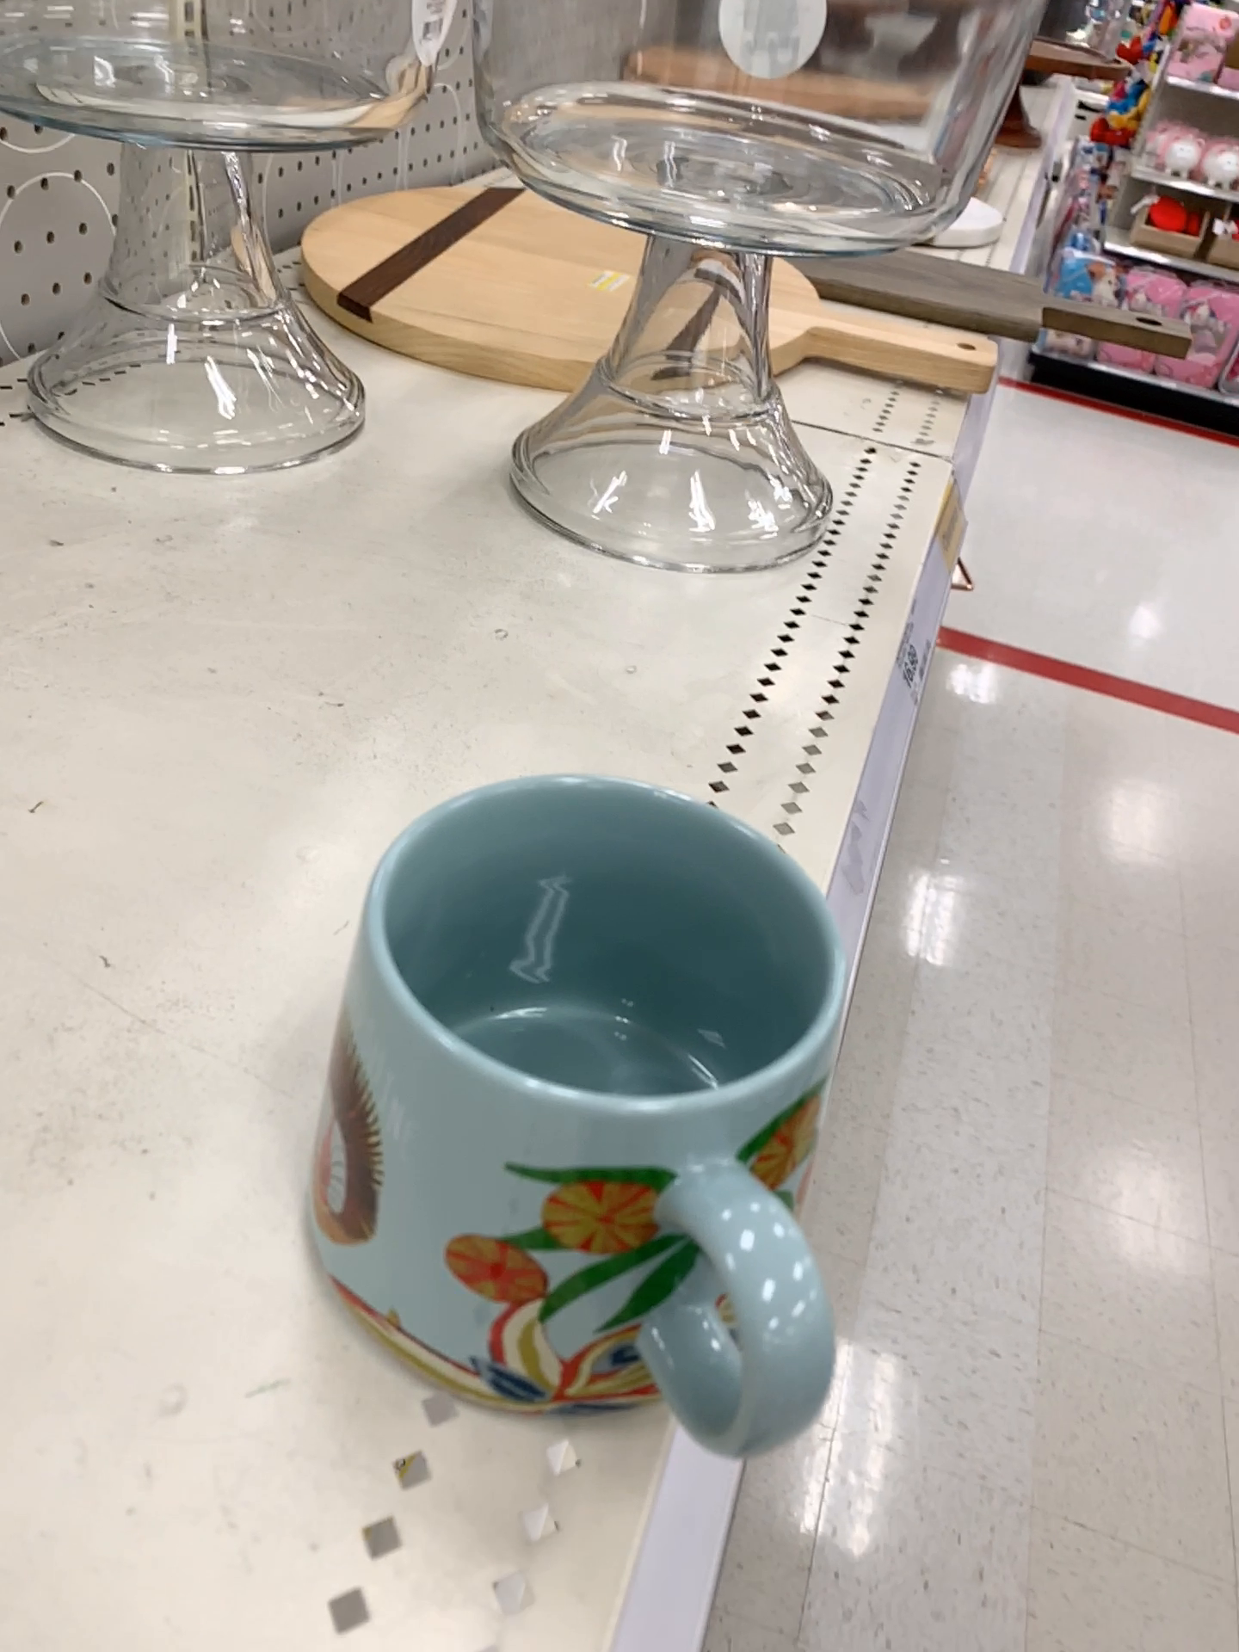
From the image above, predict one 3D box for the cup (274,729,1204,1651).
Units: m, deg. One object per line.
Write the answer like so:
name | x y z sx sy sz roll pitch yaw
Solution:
cup | 0.003 0.062 0.250 0.120 0.090 0.141 -5 41 -21
